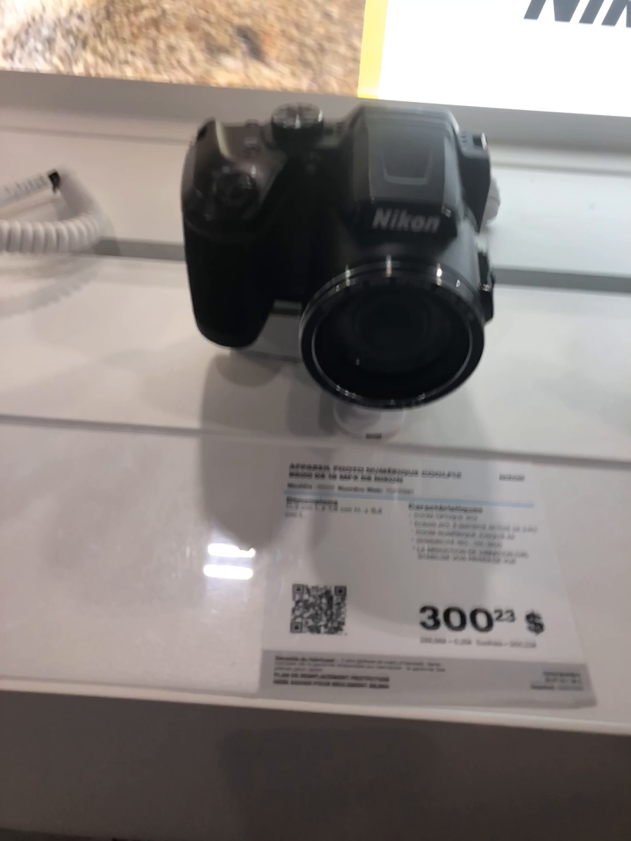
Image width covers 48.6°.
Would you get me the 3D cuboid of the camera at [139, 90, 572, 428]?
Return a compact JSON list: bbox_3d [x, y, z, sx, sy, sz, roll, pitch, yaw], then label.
[{"bbox_3d":[0.011,-0.056,0.233,0.111,0.069,0.085,4,43,0],"label":"camera"}]
